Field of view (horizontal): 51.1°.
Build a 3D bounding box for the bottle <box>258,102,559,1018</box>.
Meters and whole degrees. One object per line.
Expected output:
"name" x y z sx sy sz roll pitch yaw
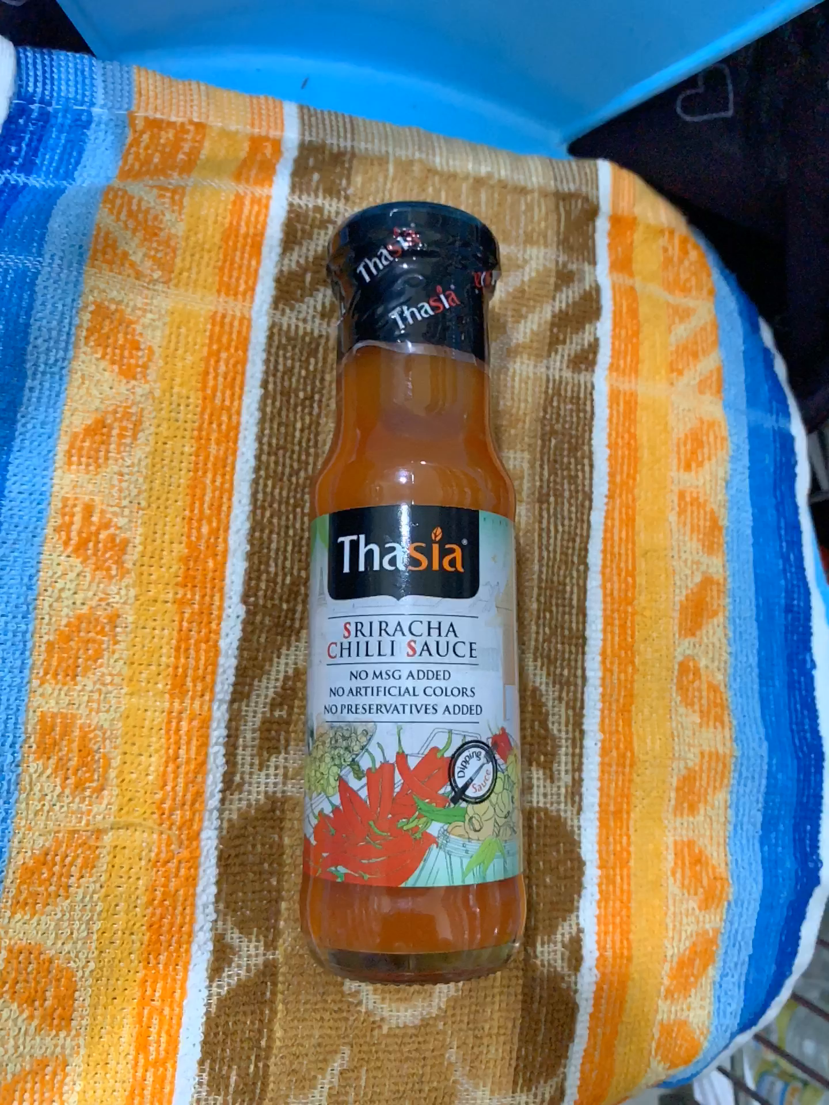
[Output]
"bottle" -0.001 -0.004 0.190 0.050 0.050 0.180 0 76 0
